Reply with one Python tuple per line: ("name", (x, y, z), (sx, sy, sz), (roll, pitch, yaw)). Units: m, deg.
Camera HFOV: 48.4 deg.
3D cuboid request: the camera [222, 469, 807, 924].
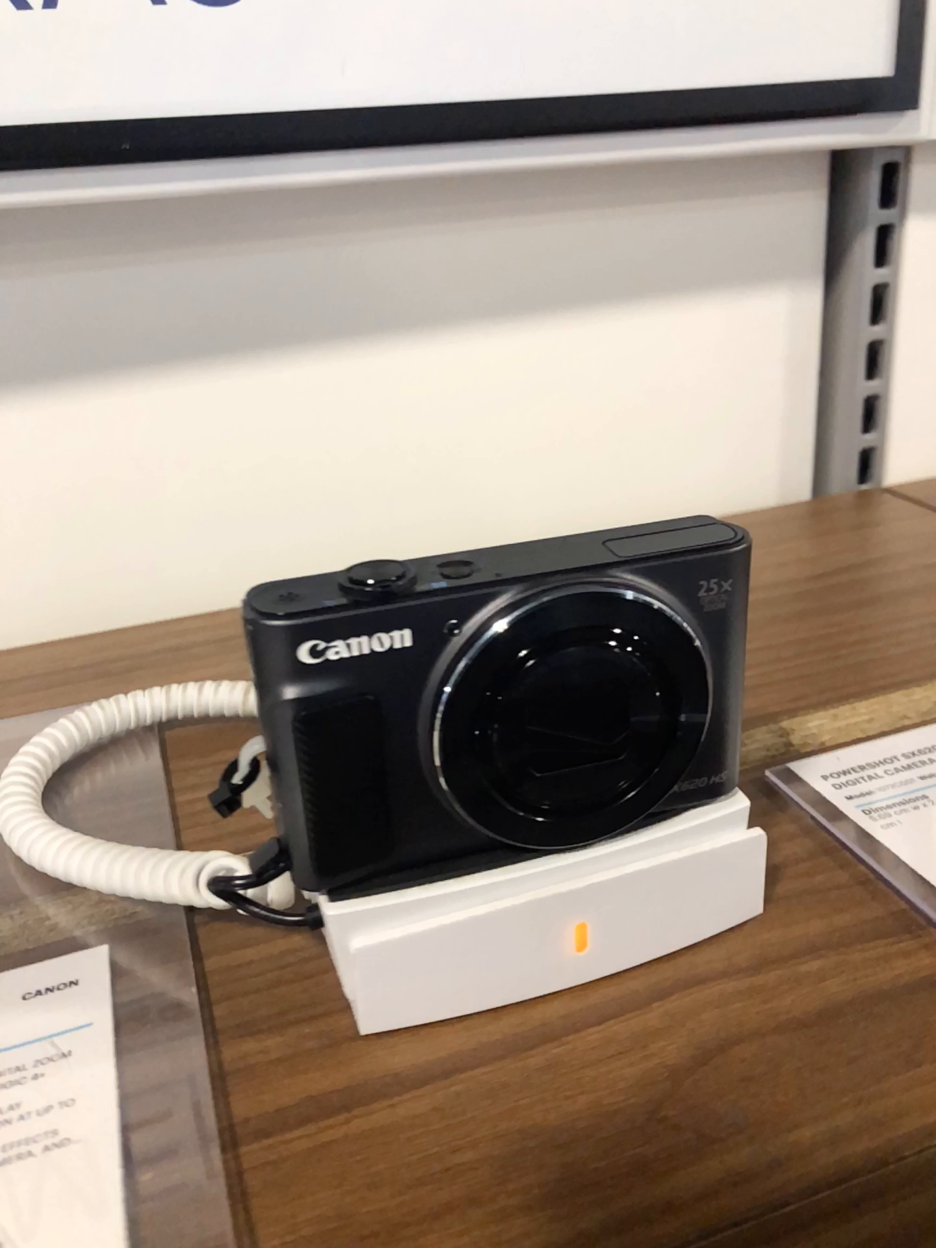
("camera", (0.010, 0.010, 0.196), (0.100, 0.060, 0.030), (-11, 22, -15))
